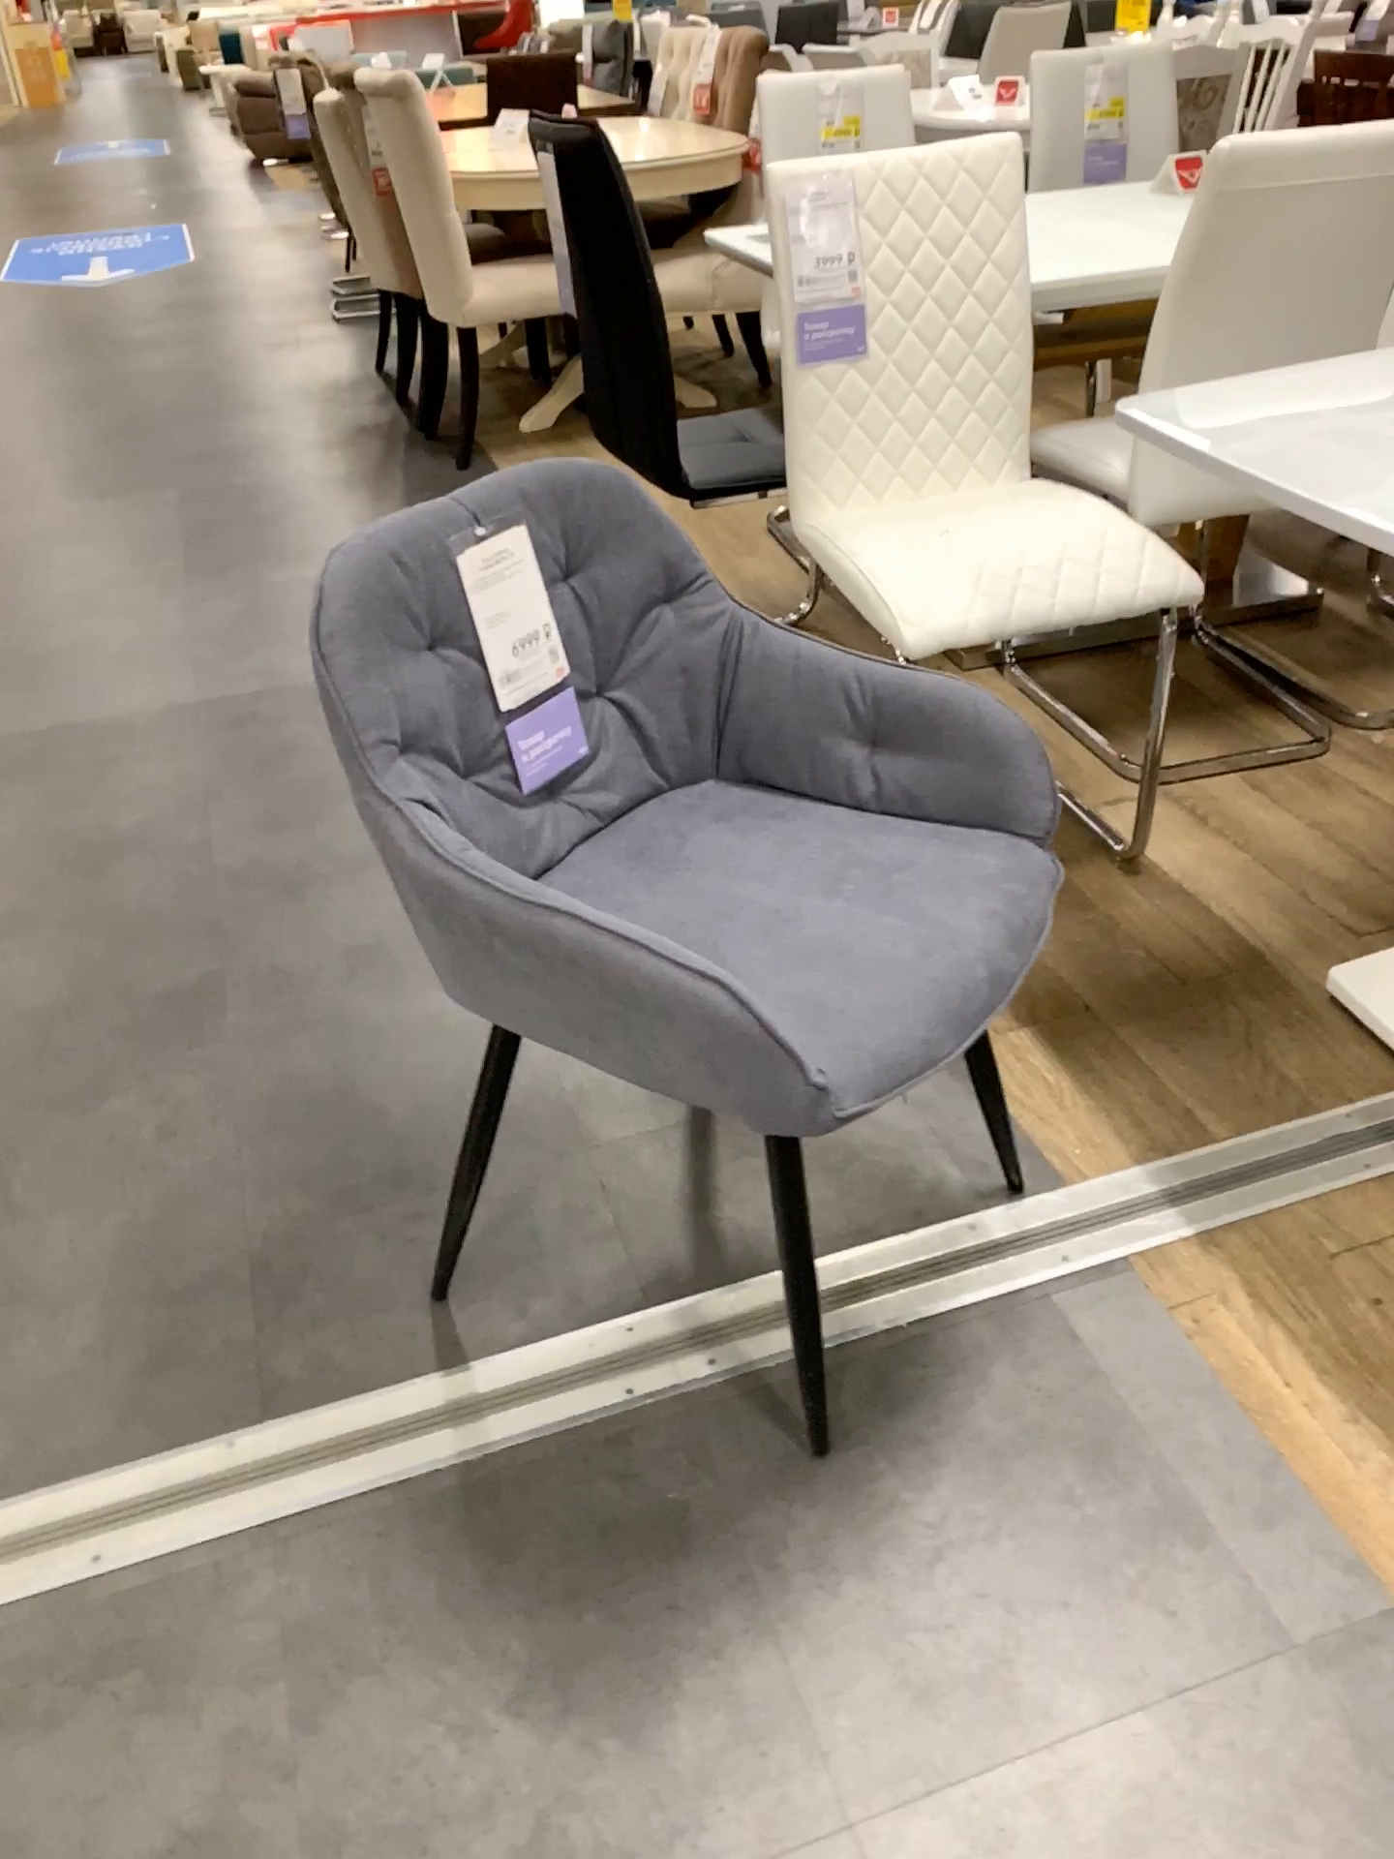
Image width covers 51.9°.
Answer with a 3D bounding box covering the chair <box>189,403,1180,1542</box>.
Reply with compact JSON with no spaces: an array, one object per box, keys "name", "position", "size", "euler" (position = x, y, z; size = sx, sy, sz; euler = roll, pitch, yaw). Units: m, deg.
[{"name":"chair","position":[0.020,-0.009,1.377],"size":[0.591,0.775,0.562],"euler":[20,40,31]}]
